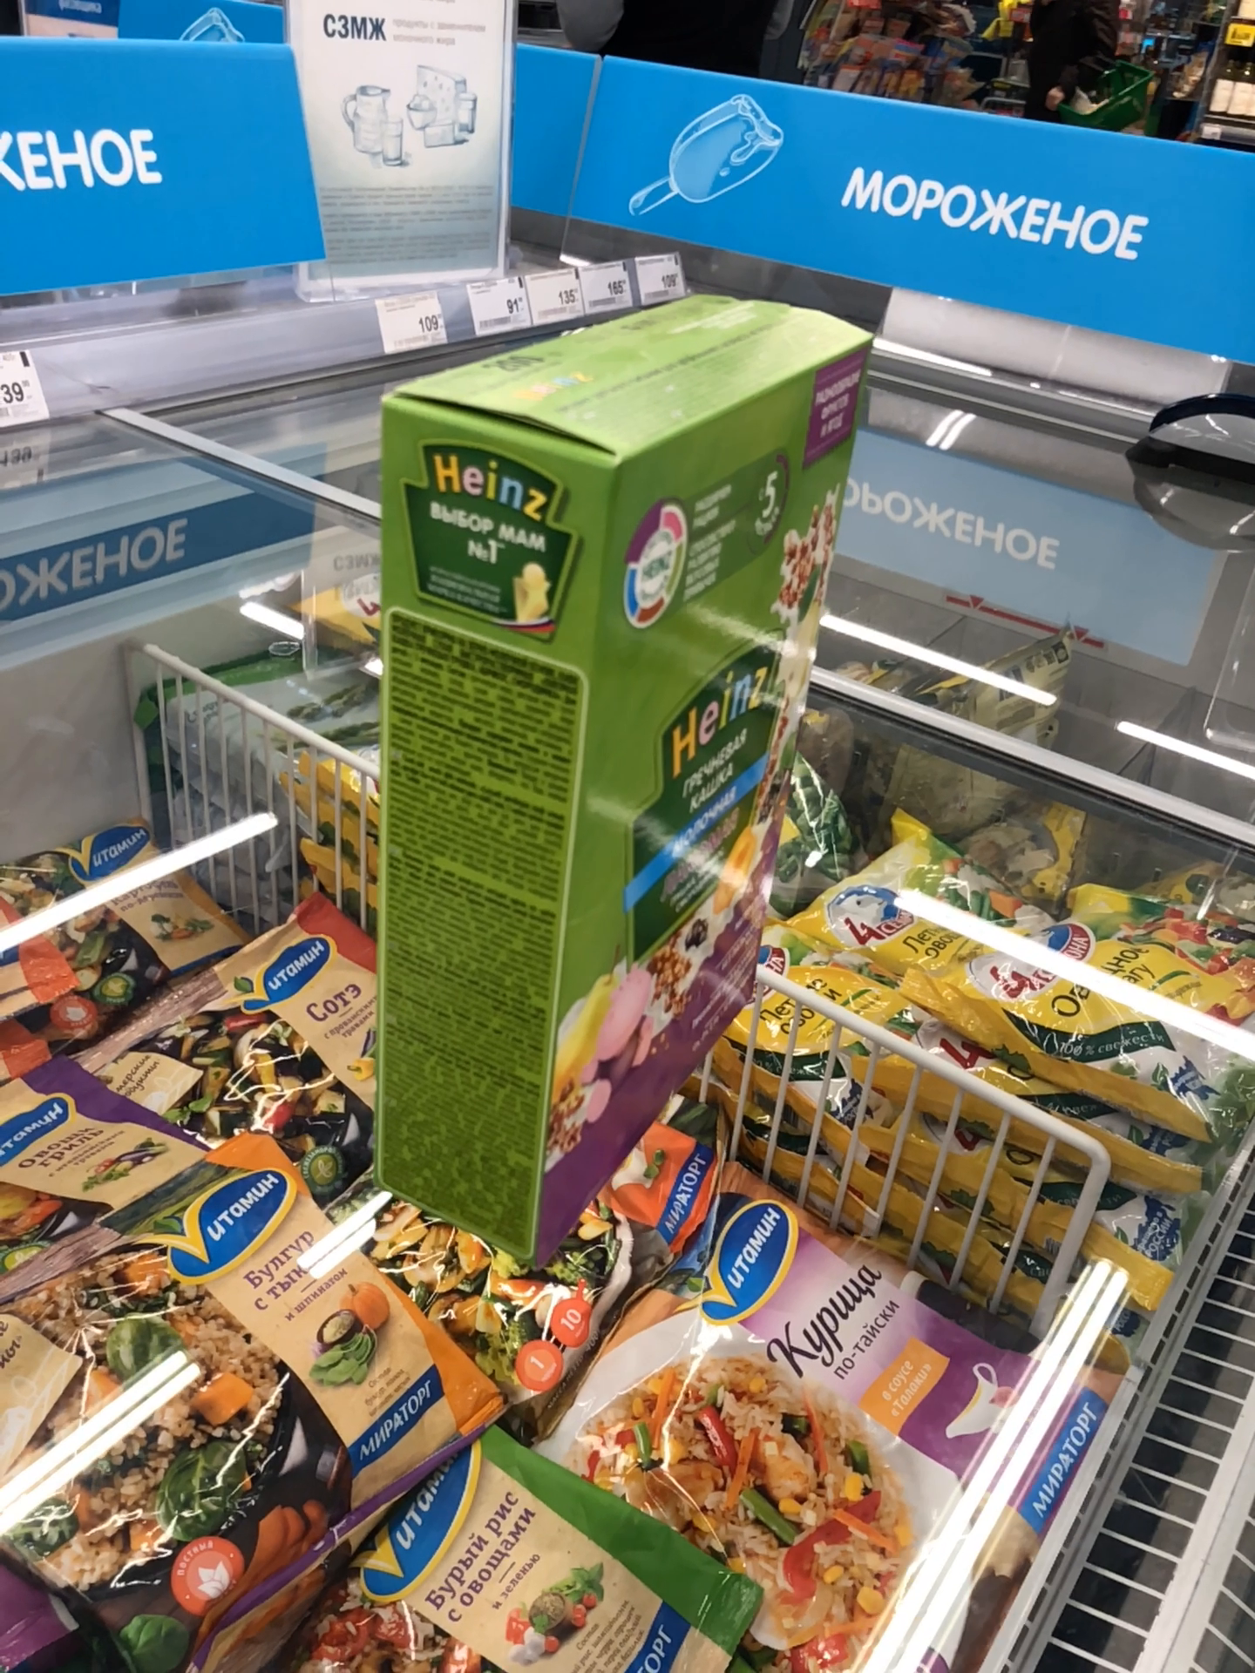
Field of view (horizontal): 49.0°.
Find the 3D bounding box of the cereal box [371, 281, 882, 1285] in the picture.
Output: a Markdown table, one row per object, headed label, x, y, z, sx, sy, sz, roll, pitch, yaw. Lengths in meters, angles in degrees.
| label | x | y | z | sx | sy | sz | roll | pitch | yaw |
| --- | --- | --- | --- | --- | --- | --- | --- | --- | --- |
| cereal box | -0.002 | -0.016 | 0.330 | 0.050 | 0.199 | 0.131 | 19 | 34 | 20 |
